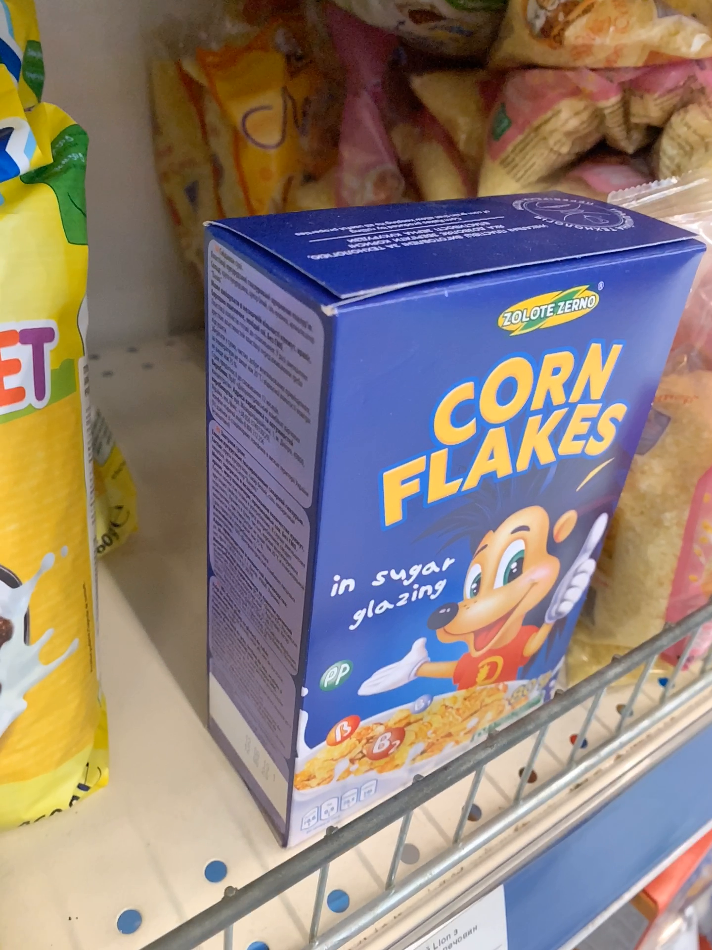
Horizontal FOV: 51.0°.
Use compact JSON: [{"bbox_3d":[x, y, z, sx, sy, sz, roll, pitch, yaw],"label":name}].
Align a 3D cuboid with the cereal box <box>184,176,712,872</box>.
[{"bbox_3d":[0.027,0.011,0.204,0.130,0.159,0.050,-17,41,-31],"label":"cereal box"}]
